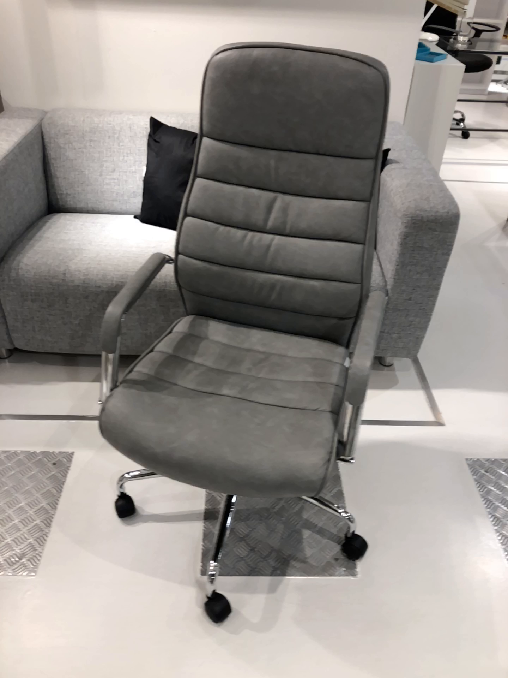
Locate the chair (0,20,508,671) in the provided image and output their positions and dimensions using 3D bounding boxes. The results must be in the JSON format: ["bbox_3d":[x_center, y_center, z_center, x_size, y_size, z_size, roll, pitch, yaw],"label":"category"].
[{"bbox_3d":[-0.017,-0.008,1.196,0.720,1.051,0.726,11,37,11],"label":"chair"}]
